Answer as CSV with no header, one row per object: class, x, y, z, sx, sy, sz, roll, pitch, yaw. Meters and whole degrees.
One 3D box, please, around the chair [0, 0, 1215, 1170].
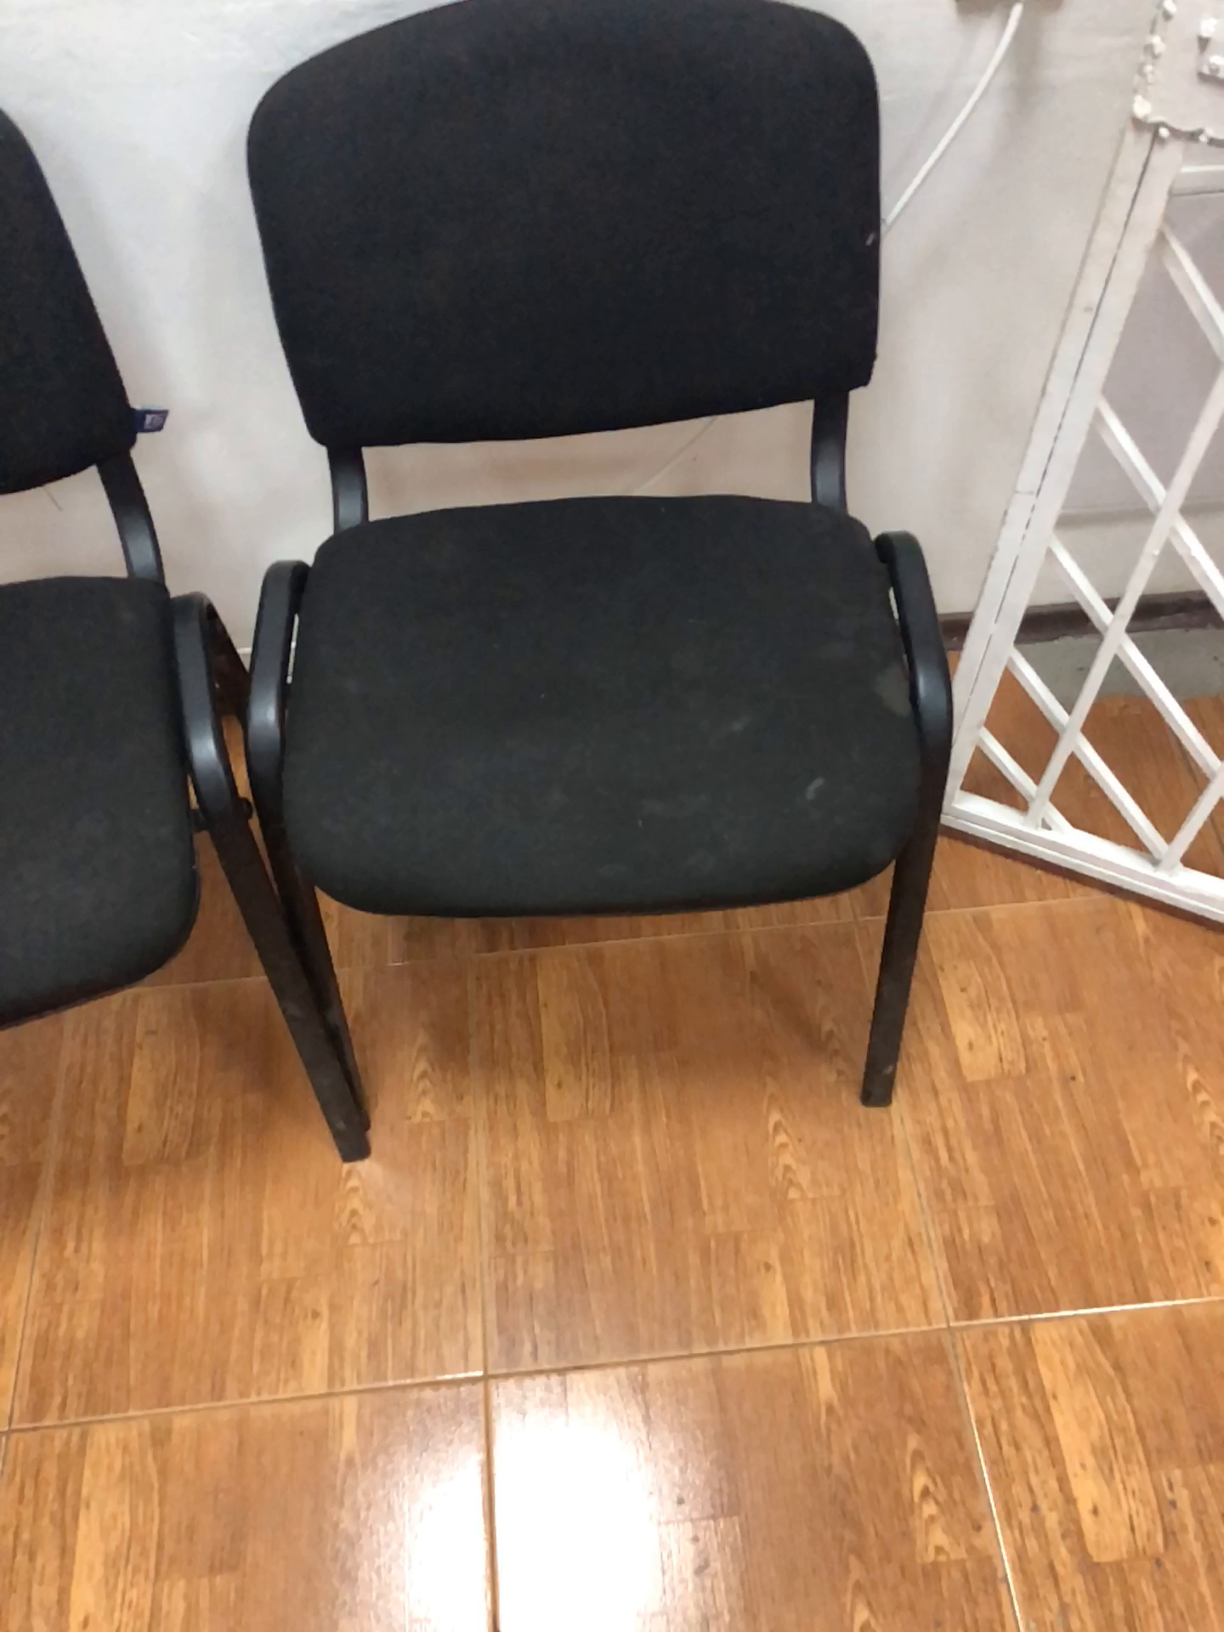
chair,-0.014,-0.132,1.015,0.520,0.748,0.511,-5,55,-2
